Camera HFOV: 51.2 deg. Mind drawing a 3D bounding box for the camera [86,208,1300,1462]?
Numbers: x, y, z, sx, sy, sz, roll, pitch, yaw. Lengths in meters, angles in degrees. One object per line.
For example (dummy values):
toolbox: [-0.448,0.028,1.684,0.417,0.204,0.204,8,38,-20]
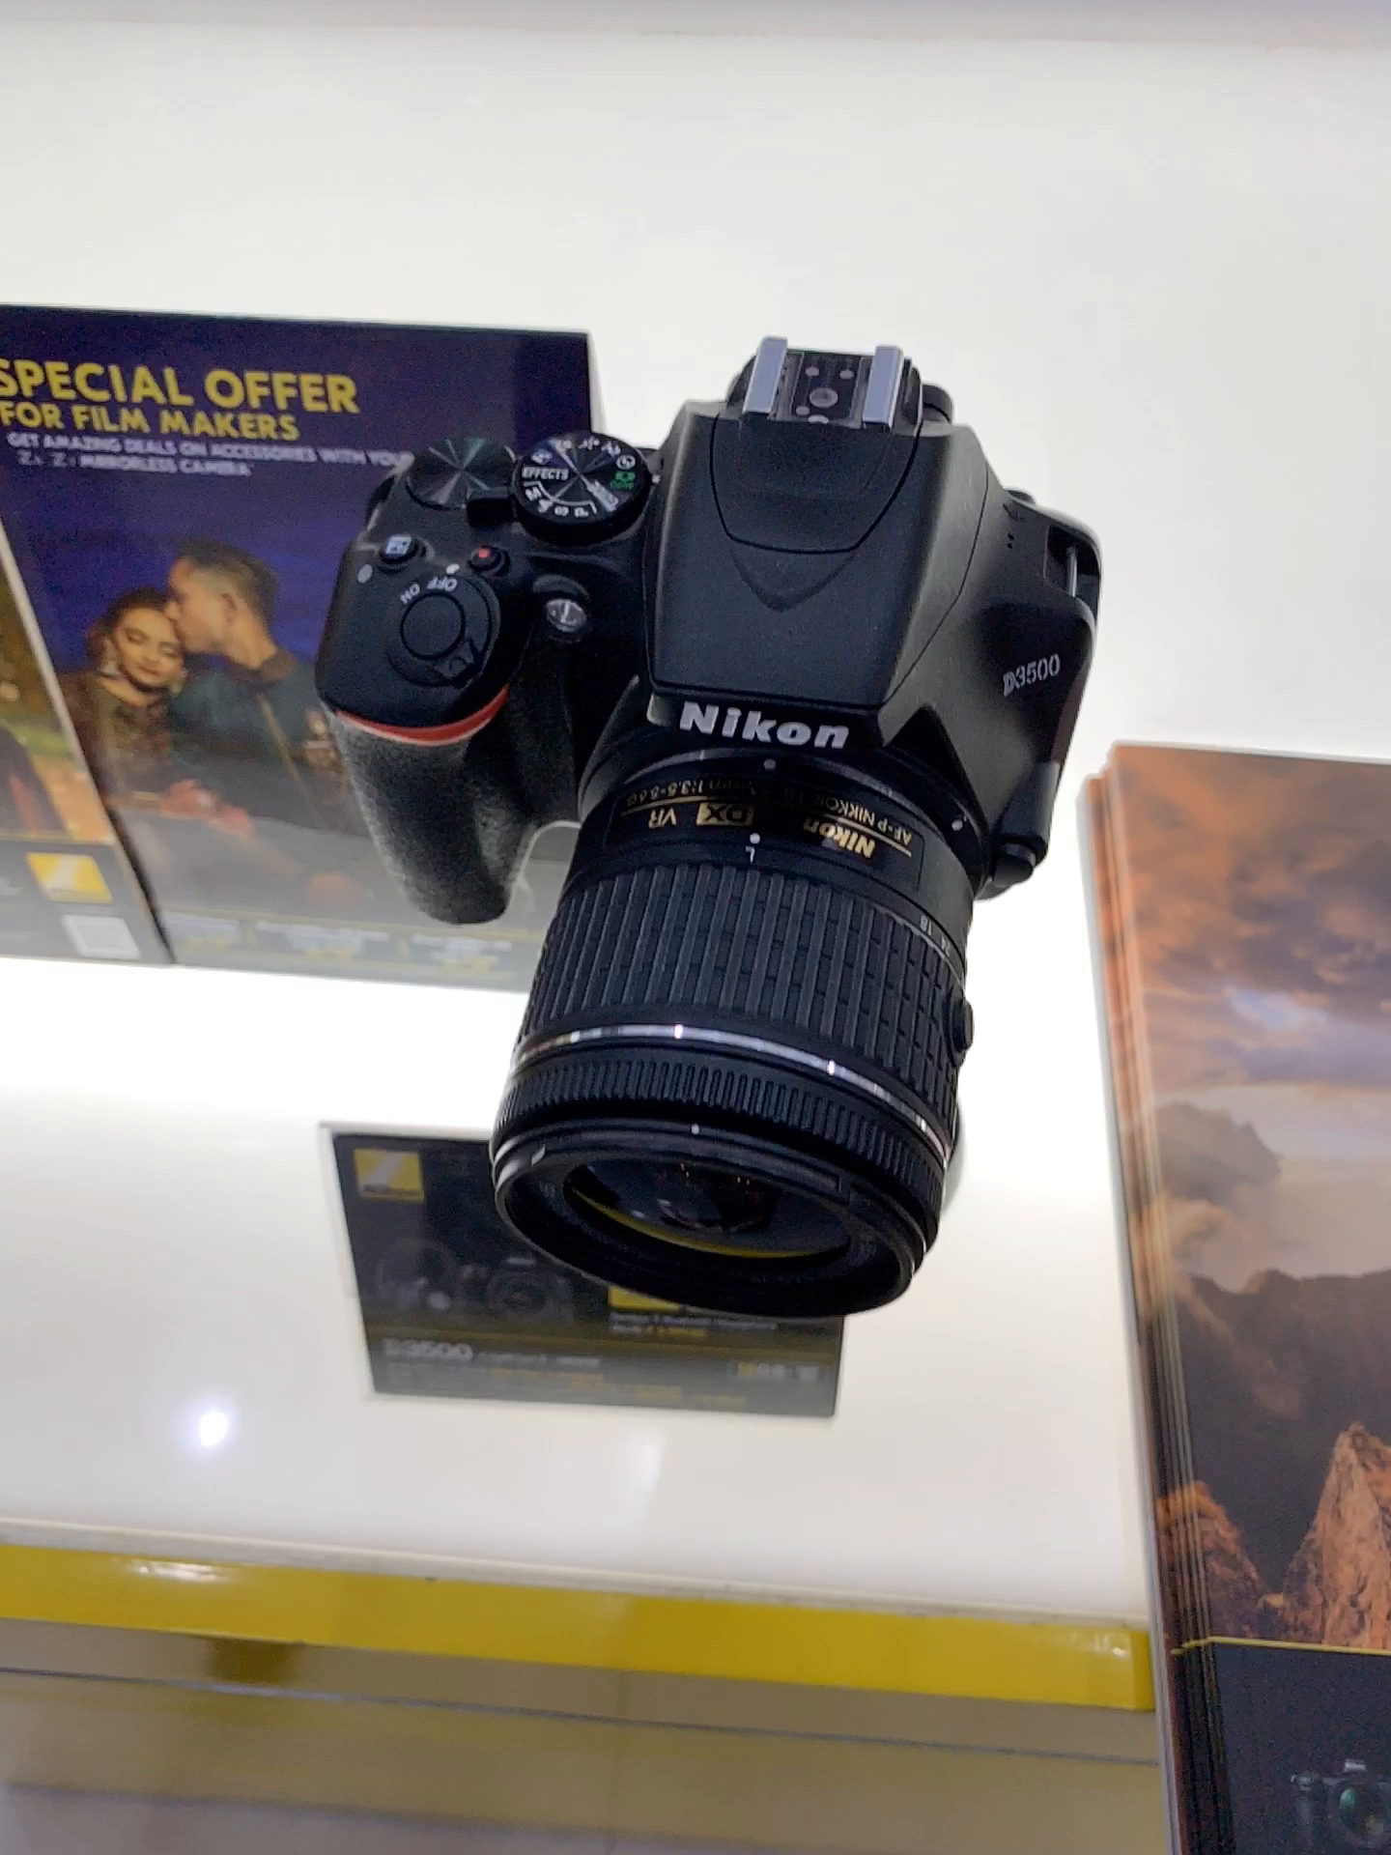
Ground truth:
camera: [0.010,-0.021,0.200,0.110,0.070,0.150,7,56,6]
